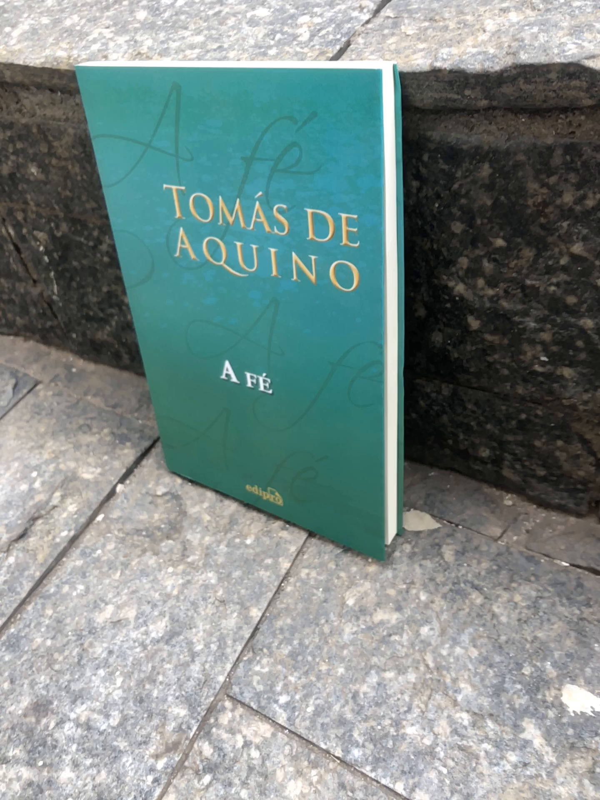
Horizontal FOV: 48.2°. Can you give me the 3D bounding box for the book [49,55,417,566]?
[{"bbox_3d":[-0.024,-0.032,0.283,0.143,0.199,0.020,17,40,29],"label":"book"}]
